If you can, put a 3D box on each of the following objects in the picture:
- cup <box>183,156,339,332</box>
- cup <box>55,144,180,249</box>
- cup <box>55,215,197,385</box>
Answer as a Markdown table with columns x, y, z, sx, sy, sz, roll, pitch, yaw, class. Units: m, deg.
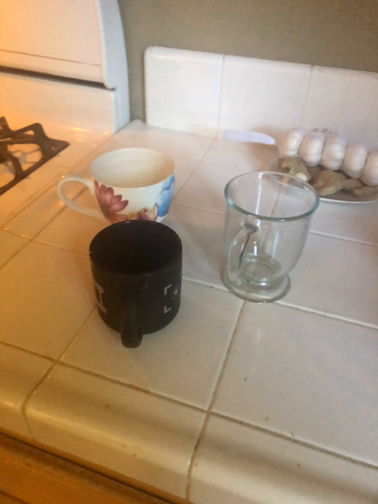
| x | y | z | sx | sy | sz | roll | pitch | yaw | class |
| --- | --- | --- | --- | --- | --- | --- | --- | --- | --- |
| 0.072 | -0.013 | 0.452 | 0.100 | 0.119 | 0.121 | 32 | 48 | 31 | cup |
| -0.090 | -0.075 | 0.539 | 0.140 | 0.079 | 0.111 | -5 | 40 | -9 | cup |
| -0.052 | 0.043 | 0.415 | 0.100 | 0.089 | 0.131 | 7 | 40 | 5 | cup |
